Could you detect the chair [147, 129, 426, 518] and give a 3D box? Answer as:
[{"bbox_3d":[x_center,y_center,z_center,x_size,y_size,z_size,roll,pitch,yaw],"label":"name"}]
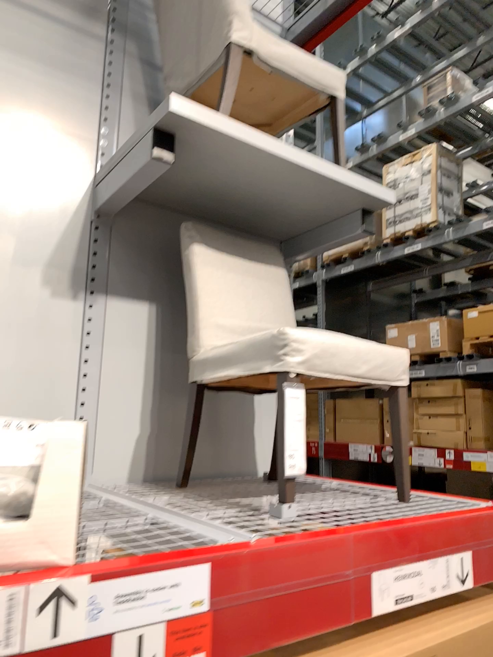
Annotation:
[{"bbox_3d":[0.111,0.031,1.673,0.559,0.983,0.669,10,-14,-38],"label":"chair"}]
